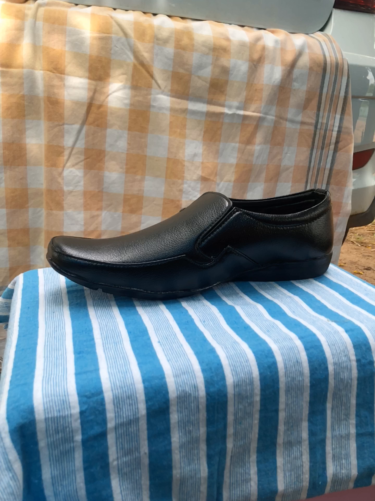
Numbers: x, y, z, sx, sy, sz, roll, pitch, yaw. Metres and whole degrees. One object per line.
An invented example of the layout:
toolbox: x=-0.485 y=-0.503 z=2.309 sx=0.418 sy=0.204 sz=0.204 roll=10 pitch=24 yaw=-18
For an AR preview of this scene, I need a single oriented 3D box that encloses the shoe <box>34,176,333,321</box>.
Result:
shoe: x=0.000 y=-0.018 z=0.451 sx=0.301 sy=0.110 sz=0.100 roll=-5 pitch=18 yaw=-24
